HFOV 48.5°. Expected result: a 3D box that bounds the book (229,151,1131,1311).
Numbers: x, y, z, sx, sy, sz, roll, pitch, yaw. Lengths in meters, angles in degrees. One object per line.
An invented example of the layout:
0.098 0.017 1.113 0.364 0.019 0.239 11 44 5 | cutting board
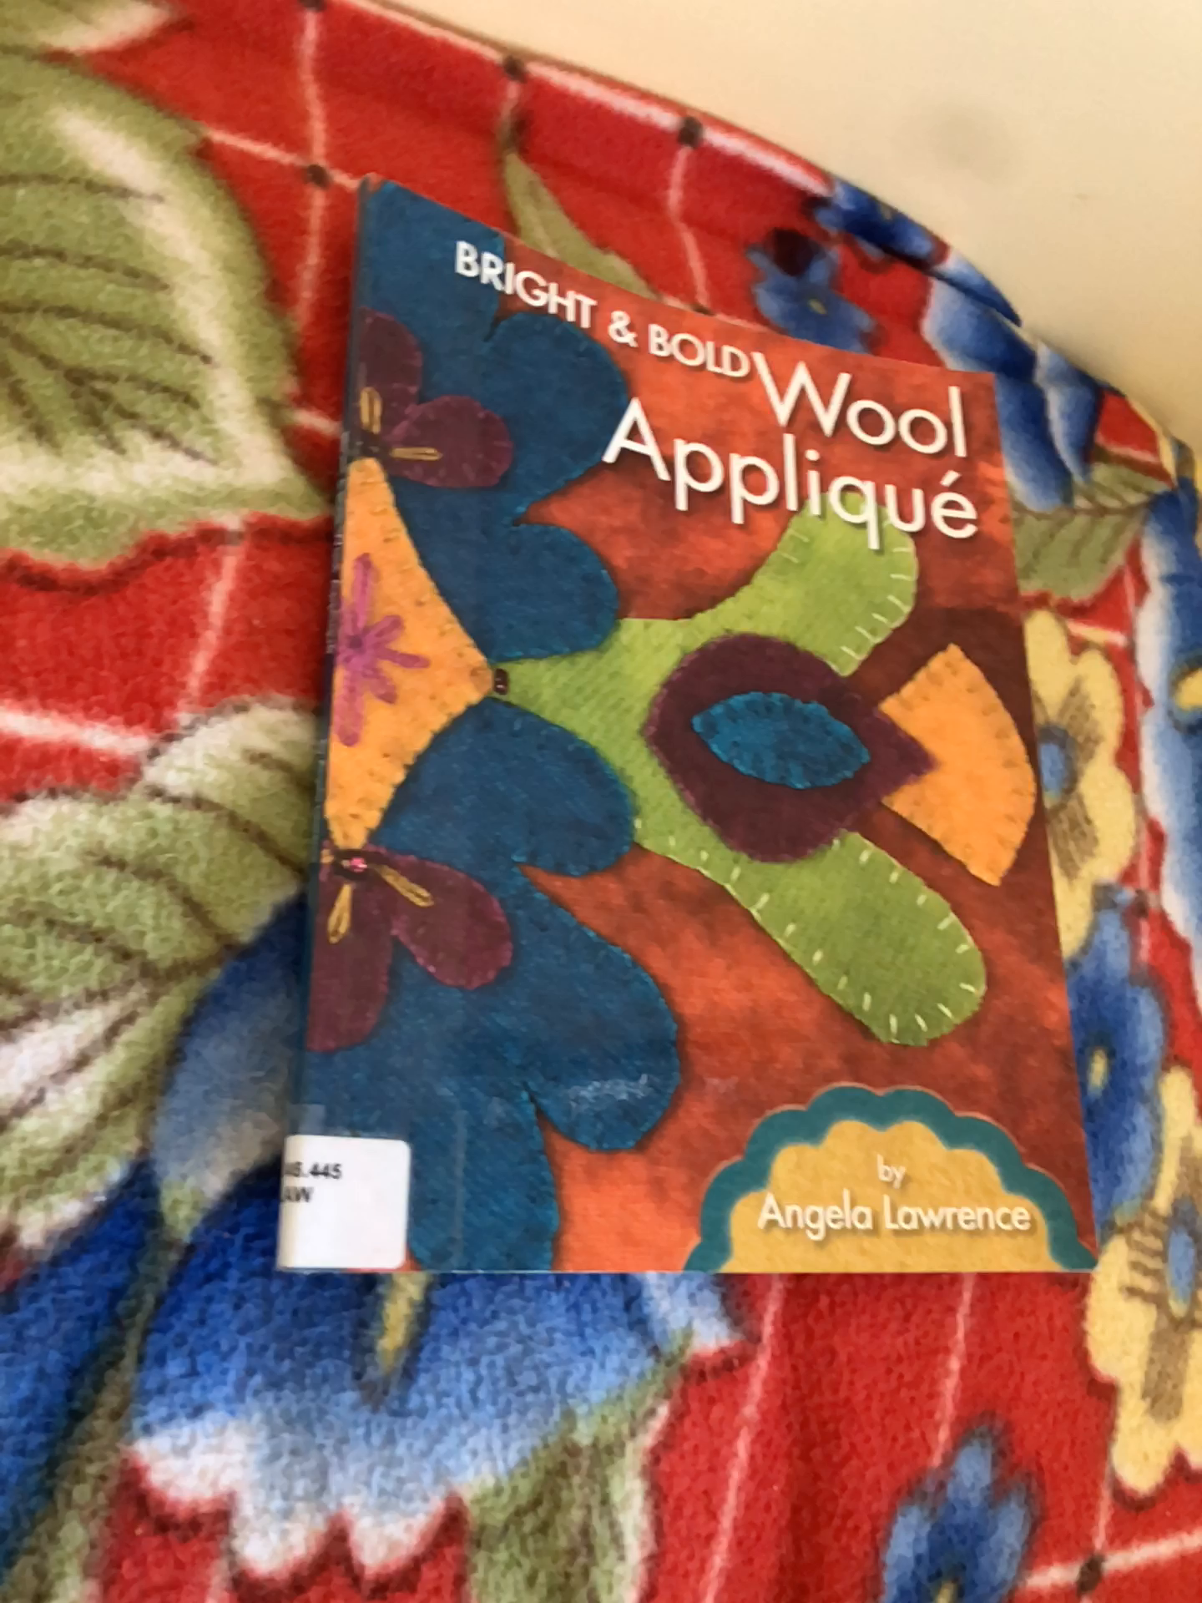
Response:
0.030 -0.015 0.338 0.221 0.020 0.264 9 68 -27 | book
